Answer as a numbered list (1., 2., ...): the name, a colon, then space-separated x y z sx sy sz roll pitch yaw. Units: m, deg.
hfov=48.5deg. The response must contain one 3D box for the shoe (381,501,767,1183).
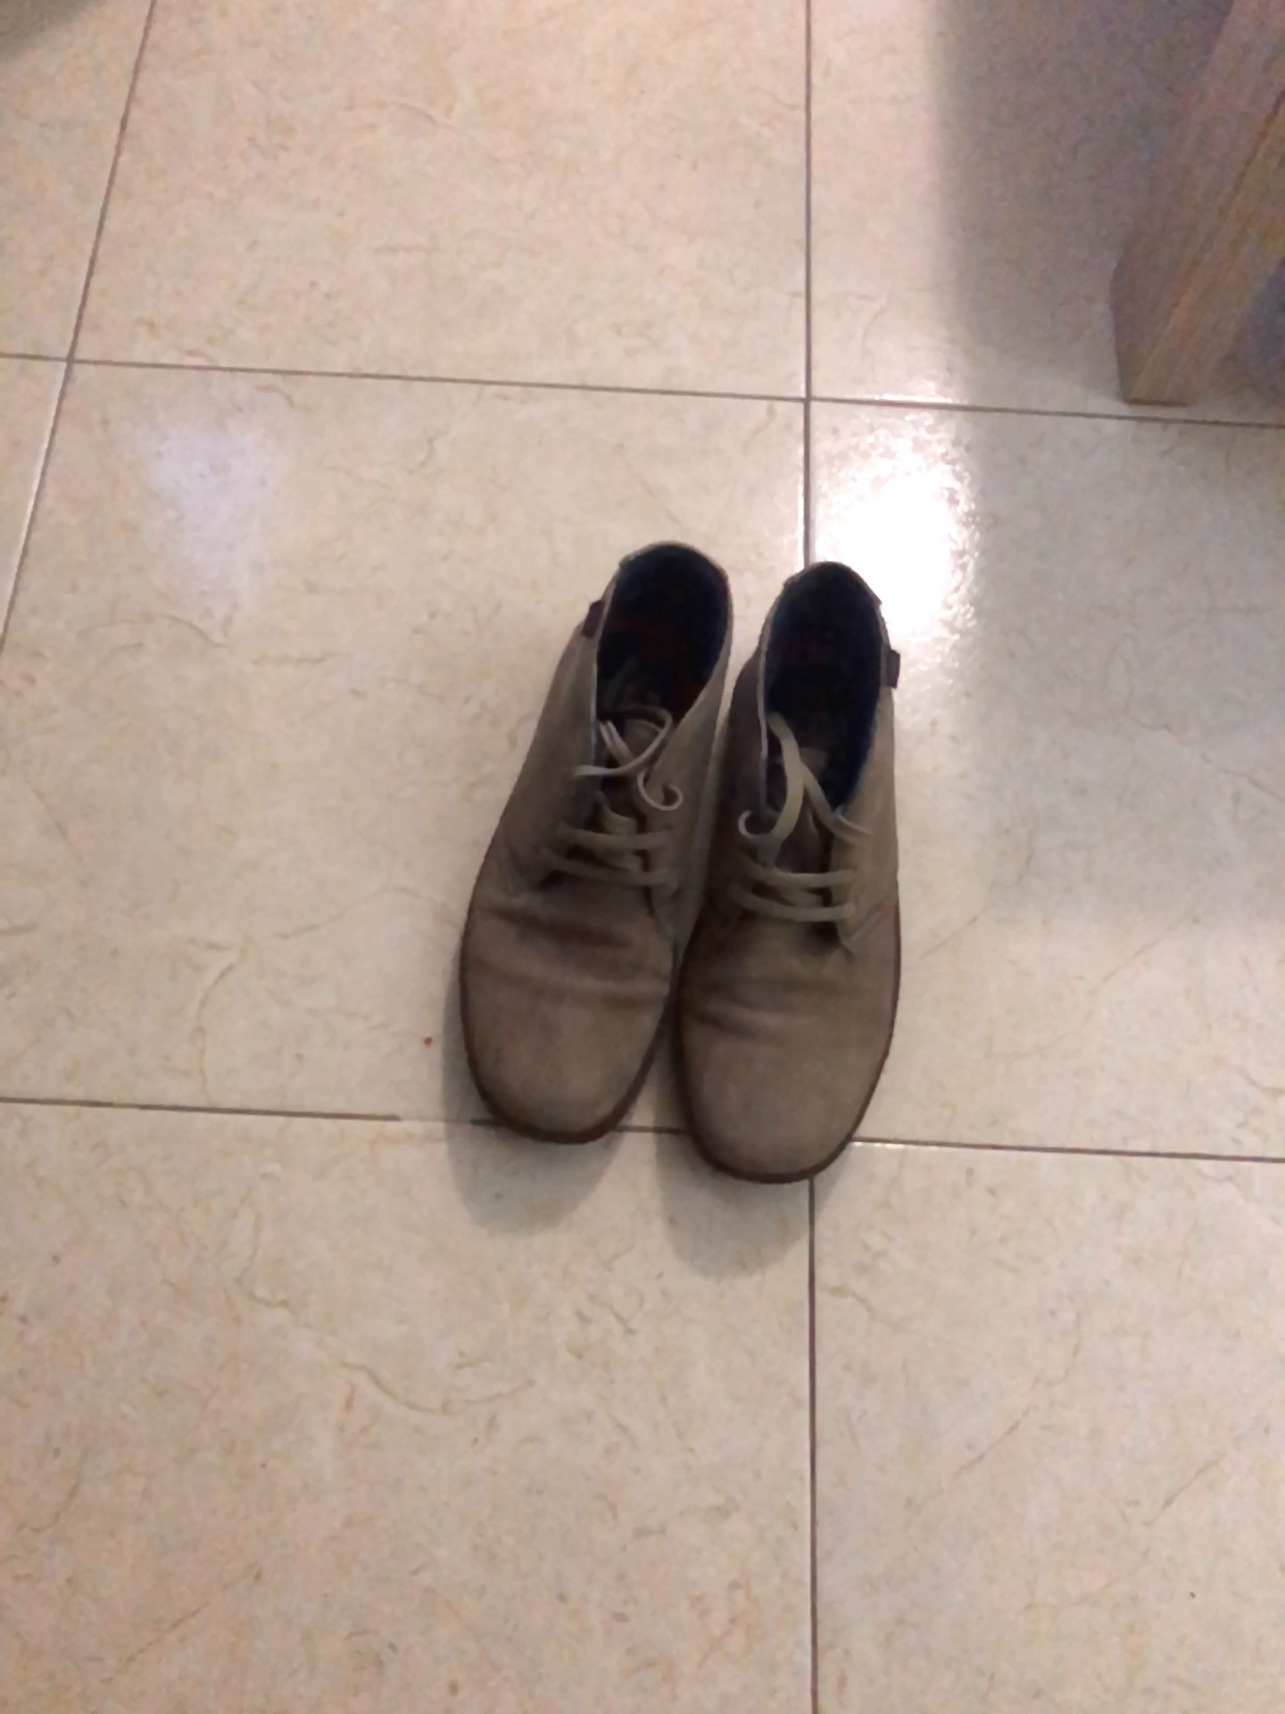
1. shoe: -0.025 -0.007 0.669 0.110 0.120 0.280 11 68 2

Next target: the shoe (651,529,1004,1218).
1. shoe: 0.085 0.008 0.660 0.120 0.120 0.280 8 68 1
